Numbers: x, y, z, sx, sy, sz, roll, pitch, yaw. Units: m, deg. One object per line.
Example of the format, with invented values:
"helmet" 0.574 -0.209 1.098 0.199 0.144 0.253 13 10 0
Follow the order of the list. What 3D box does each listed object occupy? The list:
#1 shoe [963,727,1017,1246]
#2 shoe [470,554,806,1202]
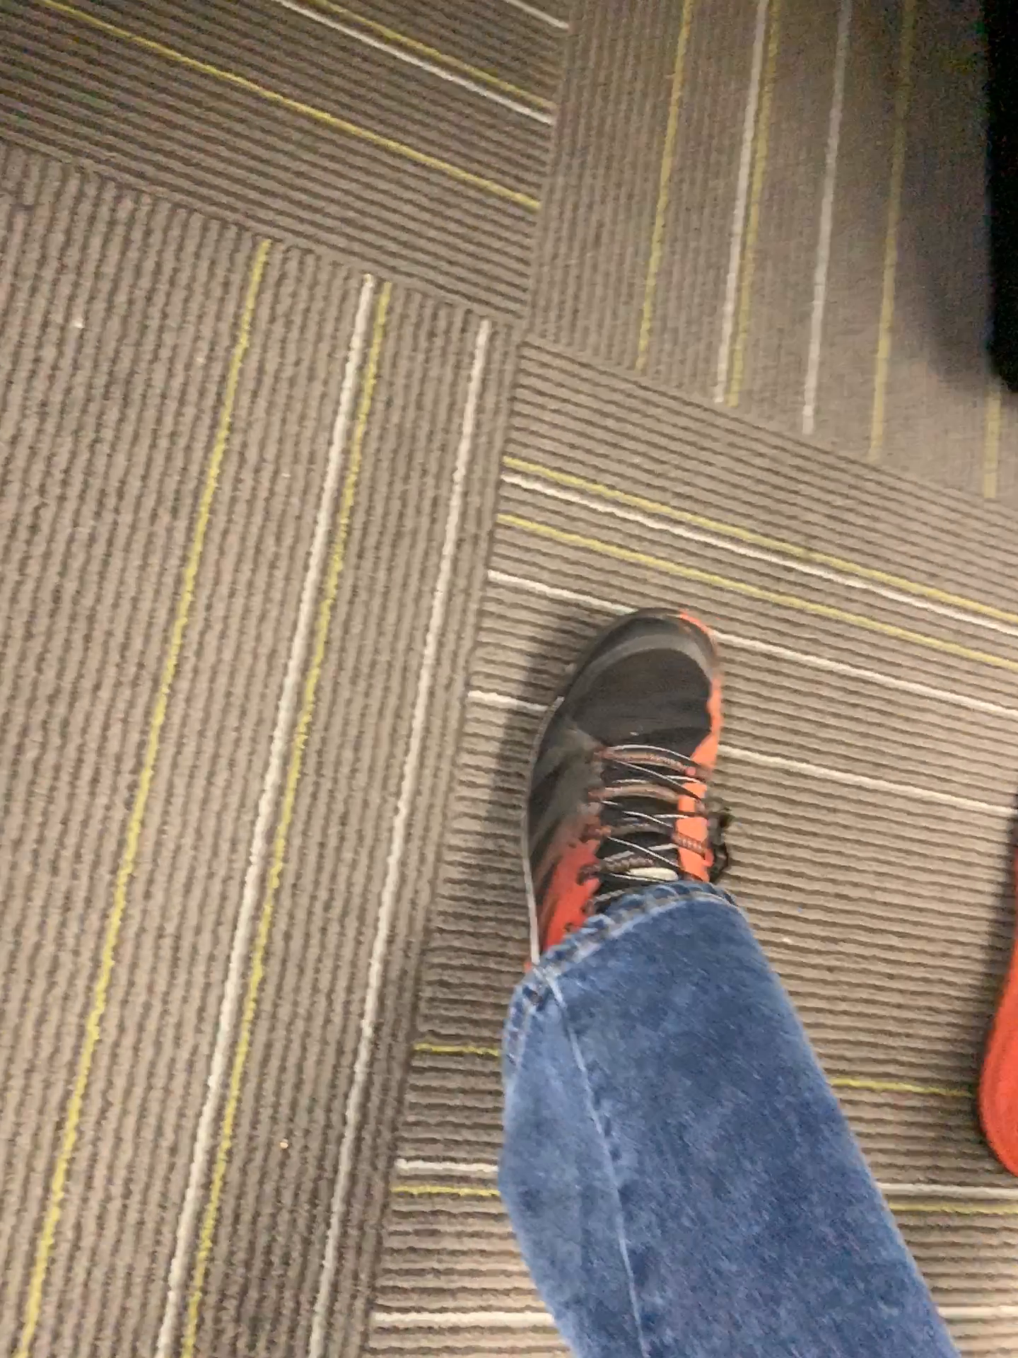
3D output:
"shoe" 0.416 0.199 0.713 0.140 0.090 0.302 26 73 -30
"shoe" 0.069 0.100 0.575 0.132 0.090 0.305 9 78 -2
